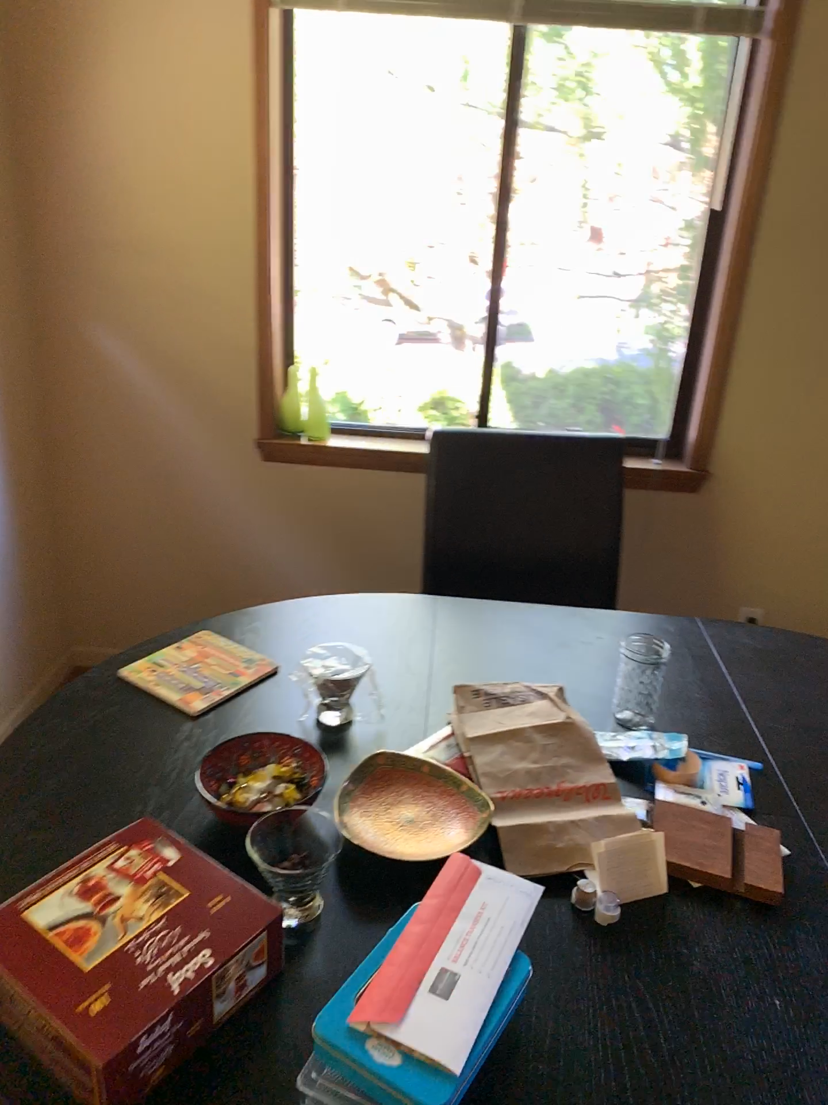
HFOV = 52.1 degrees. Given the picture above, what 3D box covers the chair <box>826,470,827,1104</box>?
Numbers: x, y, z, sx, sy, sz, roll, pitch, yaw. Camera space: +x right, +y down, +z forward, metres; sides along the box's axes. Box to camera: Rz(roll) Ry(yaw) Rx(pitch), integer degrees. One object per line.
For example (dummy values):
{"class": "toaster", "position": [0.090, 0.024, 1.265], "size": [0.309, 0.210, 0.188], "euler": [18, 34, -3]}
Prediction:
{"class": "chair", "position": [1.412, 0.487, 1.718], "size": [0.651, 1.085, 0.623], "euler": [-17, 30, -41]}
